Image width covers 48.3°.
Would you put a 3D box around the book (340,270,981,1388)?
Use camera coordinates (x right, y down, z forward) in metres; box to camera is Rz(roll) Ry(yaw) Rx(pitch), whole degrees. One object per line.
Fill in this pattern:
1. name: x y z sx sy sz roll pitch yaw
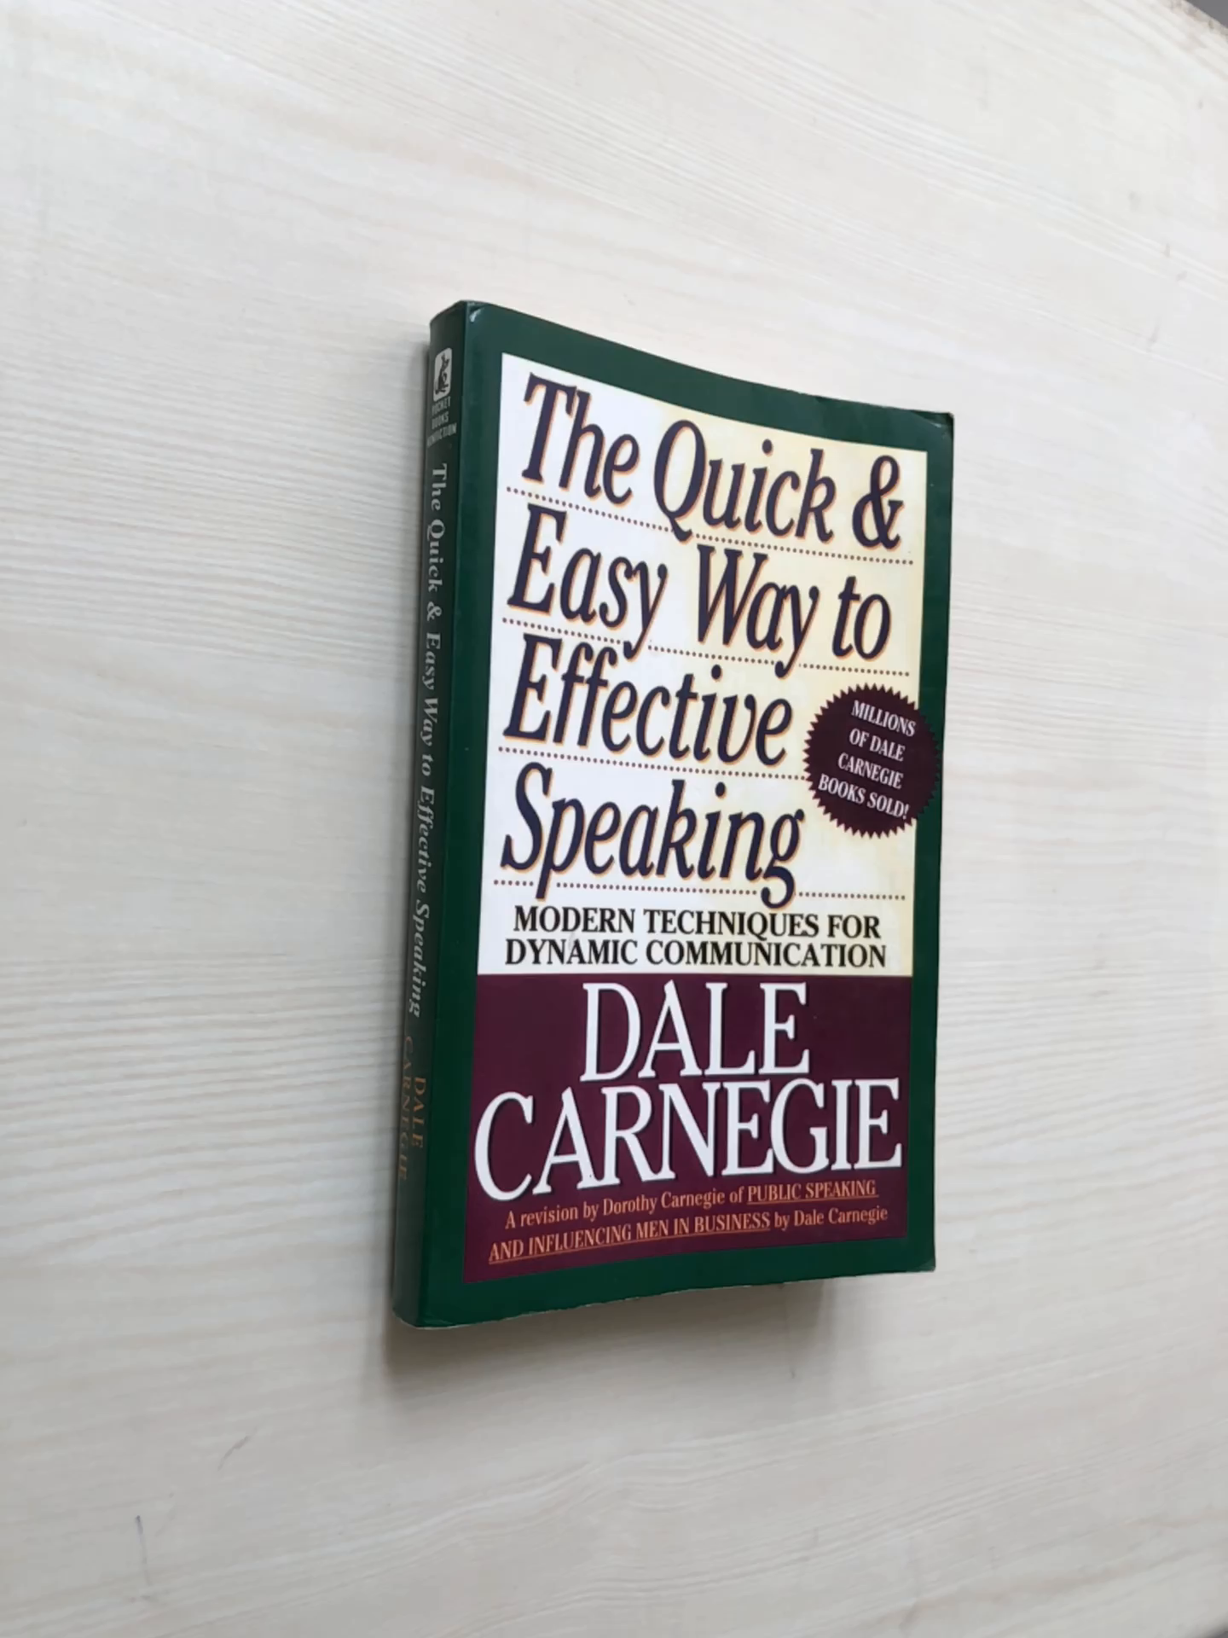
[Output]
1. book: 0.012 0.004 0.263 0.110 0.040 0.180 5 85 -27
